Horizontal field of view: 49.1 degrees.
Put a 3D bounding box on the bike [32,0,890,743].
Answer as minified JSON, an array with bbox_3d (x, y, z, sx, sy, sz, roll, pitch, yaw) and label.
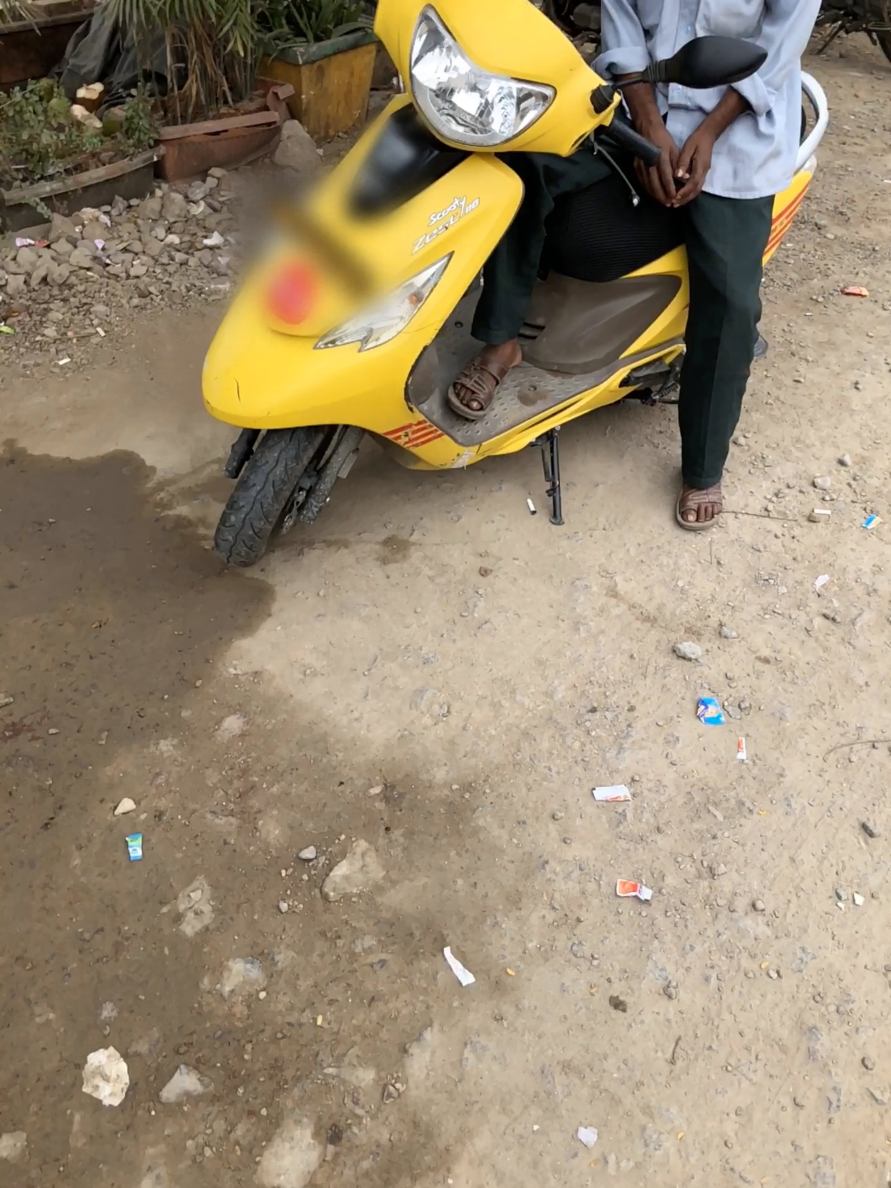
[{"bbox_3d":[0.185,-0.728,2.231,1.660,1.160,0.891,-29,50,-29],"label":"bike"}]
